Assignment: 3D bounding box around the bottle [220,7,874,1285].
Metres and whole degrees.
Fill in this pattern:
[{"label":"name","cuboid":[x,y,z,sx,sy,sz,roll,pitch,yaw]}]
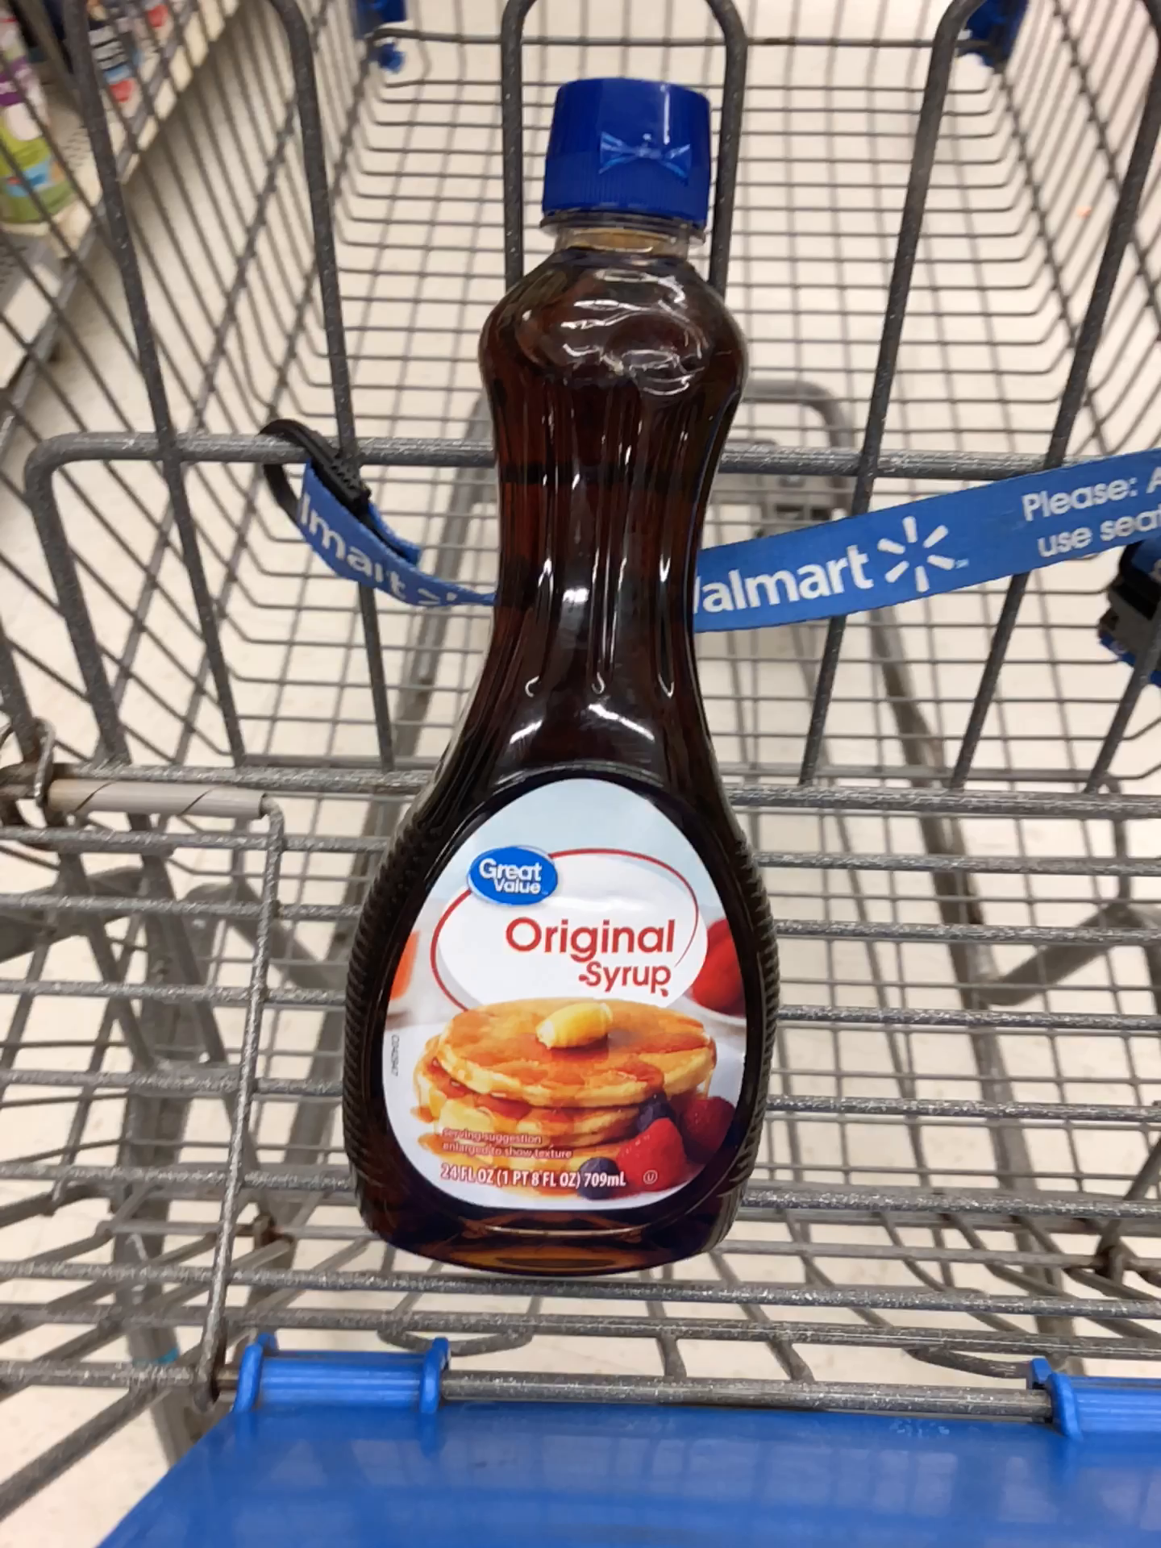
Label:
[{"label":"bottle","cuboid":[-0.011,-0.022,0.293,0.120,0.070,0.250,3,101,3]}]
